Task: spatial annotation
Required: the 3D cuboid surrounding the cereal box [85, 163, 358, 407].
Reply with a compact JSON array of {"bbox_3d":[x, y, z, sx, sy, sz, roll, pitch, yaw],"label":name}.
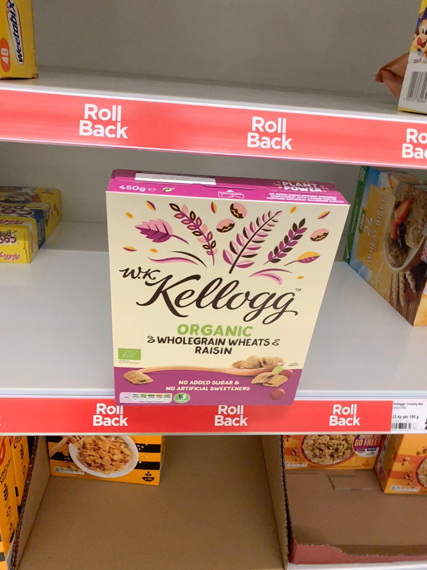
[{"bbox_3d":[-0.002,0.011,0.402,0.200,0.218,0.061,1,32,-6],"label":"cereal box"}]
